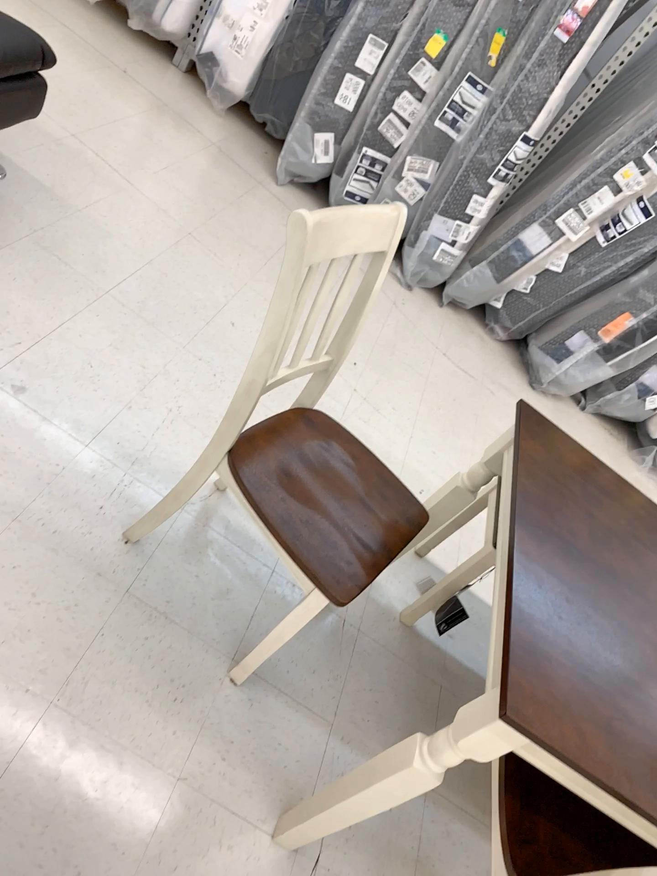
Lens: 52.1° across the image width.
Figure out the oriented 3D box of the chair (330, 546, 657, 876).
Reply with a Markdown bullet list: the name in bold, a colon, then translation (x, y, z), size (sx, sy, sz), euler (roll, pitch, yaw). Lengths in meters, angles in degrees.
- **chair**: translation (0.520, 0.773, 1.247), size (0.464, 0.932, 0.607), euler (36, 36, -8)

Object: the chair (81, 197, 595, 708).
- **chair**: translation (-0.009, 0.037, 1.514), size (0.594, 0.902, 0.527), euler (47, 35, 6)
